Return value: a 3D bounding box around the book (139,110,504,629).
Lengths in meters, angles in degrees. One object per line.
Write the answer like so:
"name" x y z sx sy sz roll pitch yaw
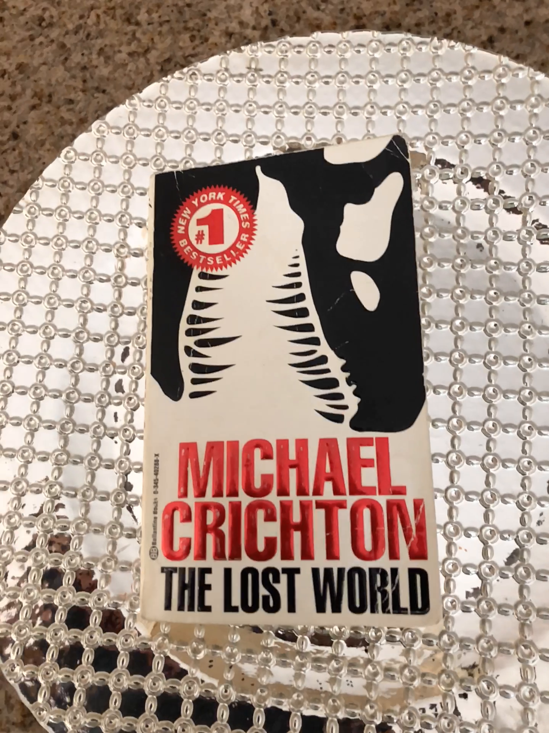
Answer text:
"book" 0.014 0.000 0.238 0.118 0.040 0.182 -2 78 7
